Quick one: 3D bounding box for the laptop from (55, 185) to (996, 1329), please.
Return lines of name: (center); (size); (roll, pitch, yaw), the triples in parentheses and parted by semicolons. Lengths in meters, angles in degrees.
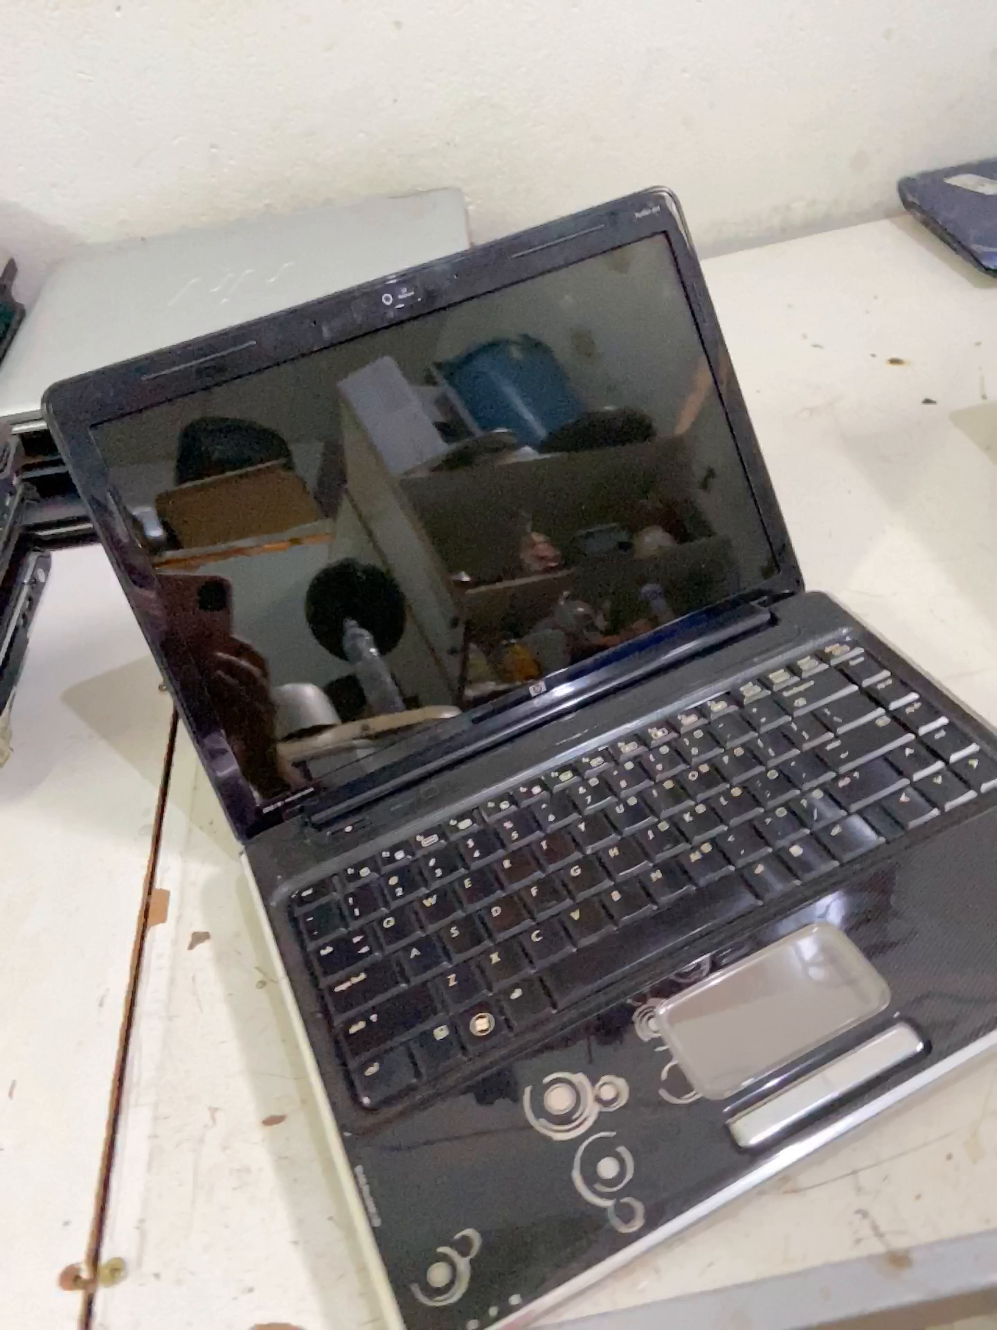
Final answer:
laptop: (0.034, -0.015, 0.427); (0.330, 0.175, 0.373); (-23, 44, -12)
